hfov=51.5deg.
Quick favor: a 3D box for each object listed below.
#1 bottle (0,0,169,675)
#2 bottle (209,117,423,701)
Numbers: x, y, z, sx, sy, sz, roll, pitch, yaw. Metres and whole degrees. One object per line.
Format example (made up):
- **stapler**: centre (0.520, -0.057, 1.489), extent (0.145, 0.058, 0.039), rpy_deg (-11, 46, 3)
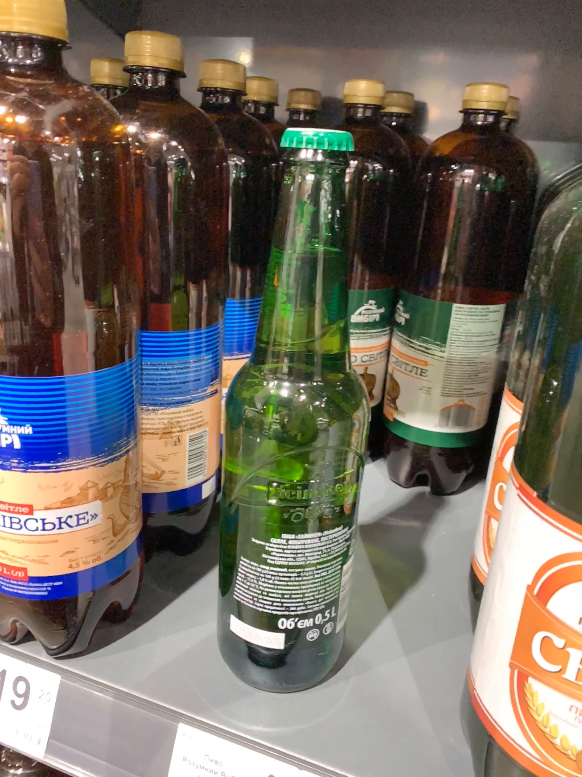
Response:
- **bottle**: centre (-0.109, -0.020, 0.271), extent (0.080, 0.288, 0.074), rpy_deg (3, 21, -1)
- **bottle**: centre (0.000, 0.017, 0.272), extent (0.066, 0.248, 0.062), rpy_deg (3, 21, -1)
